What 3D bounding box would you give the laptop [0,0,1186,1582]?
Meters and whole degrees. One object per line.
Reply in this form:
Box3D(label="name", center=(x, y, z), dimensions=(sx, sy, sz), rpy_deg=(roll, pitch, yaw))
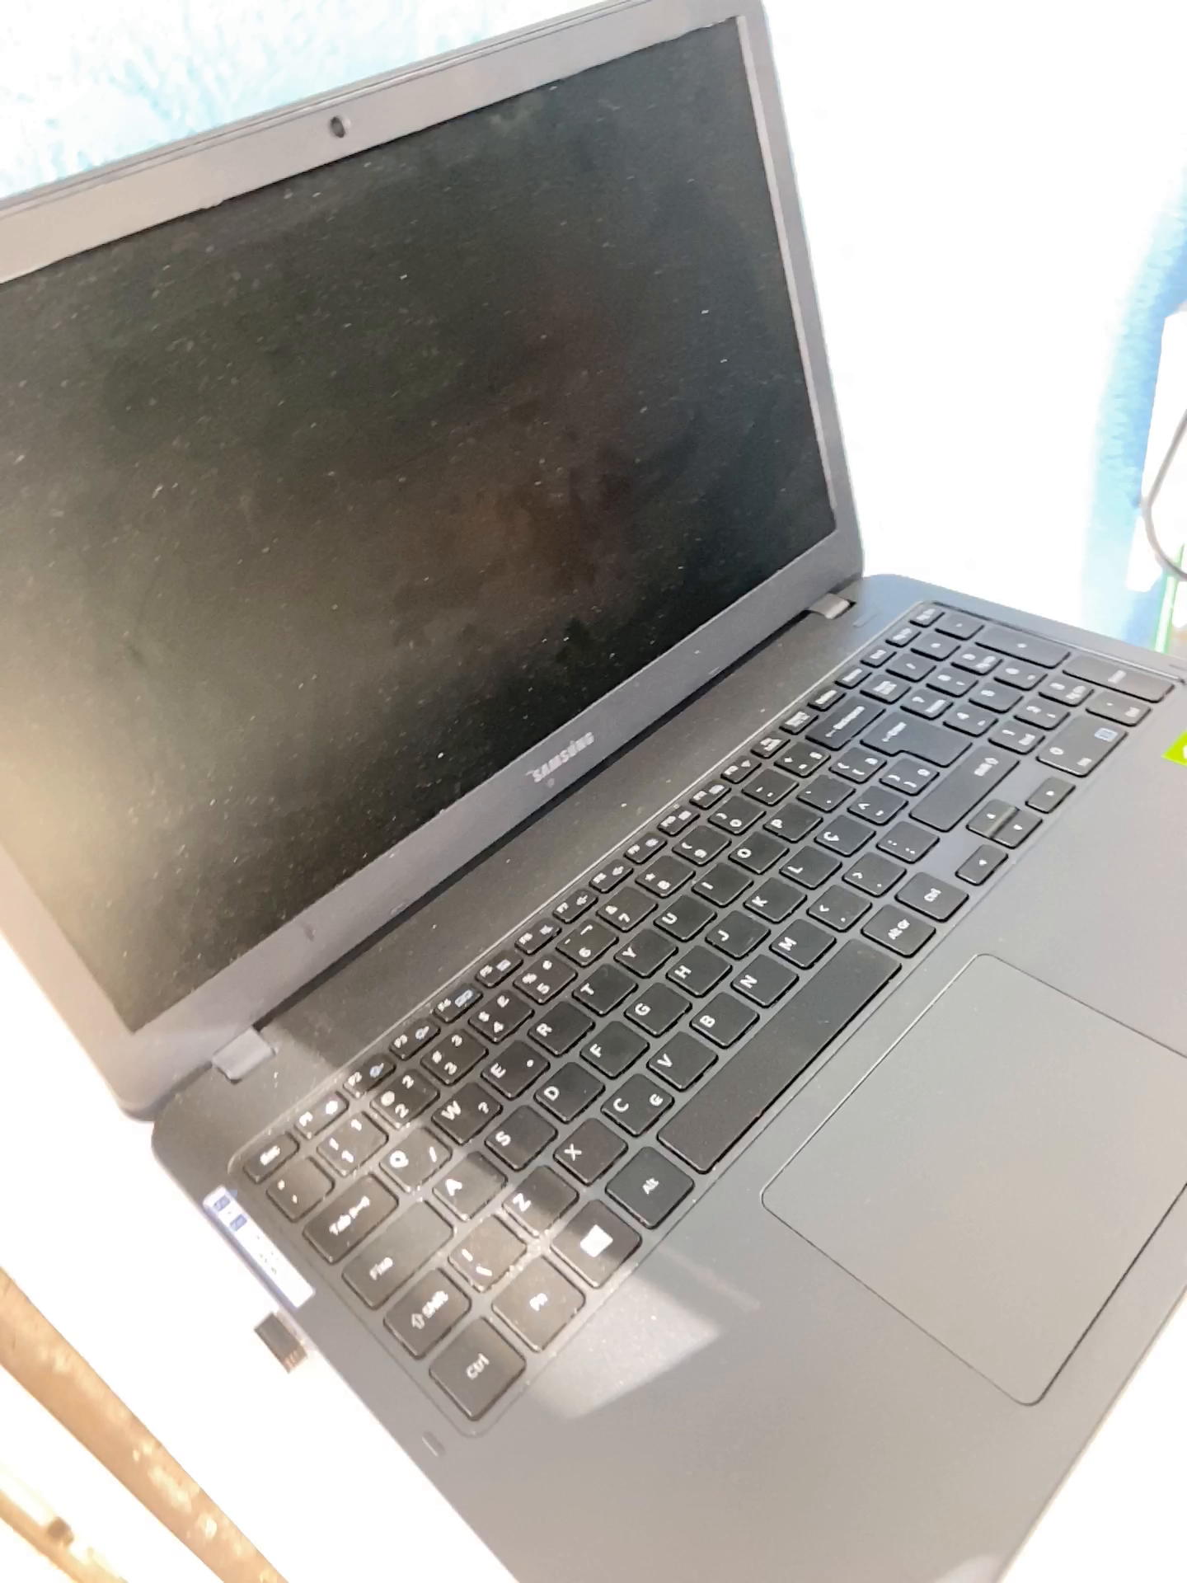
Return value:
Box3D(label="laptop", center=(0.045, -0.051, 0.325), dimensions=(0.372, 0.232, 0.287), rpy_deg=(-37, 45, -28))
